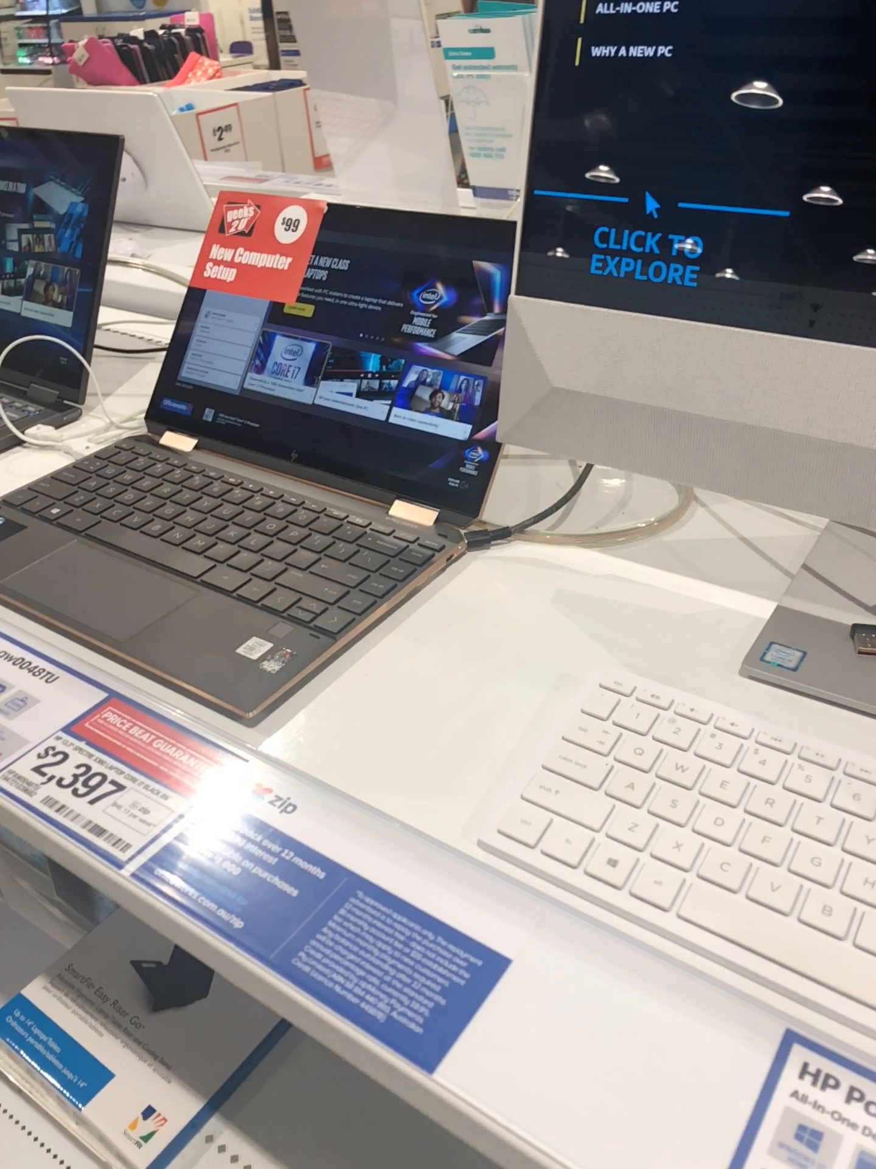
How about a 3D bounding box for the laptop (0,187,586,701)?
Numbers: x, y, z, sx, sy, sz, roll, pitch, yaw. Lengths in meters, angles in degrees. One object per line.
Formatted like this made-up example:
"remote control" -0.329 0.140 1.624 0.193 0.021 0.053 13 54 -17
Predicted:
"laptop" -0.118 -0.124 0.592 0.298 0.147 0.315 18 39 31
